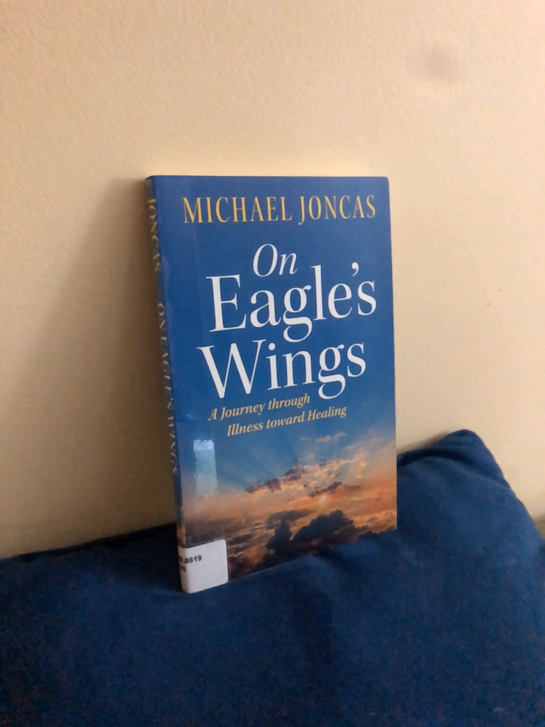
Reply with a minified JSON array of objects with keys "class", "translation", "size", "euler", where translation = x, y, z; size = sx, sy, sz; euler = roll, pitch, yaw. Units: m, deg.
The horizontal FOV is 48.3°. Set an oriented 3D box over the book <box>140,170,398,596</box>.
[{"class":"book","translation":[0.007,0.006,0.333],"size":[0.139,0.210,0.014],"euler":[-8,9,-28]}]
